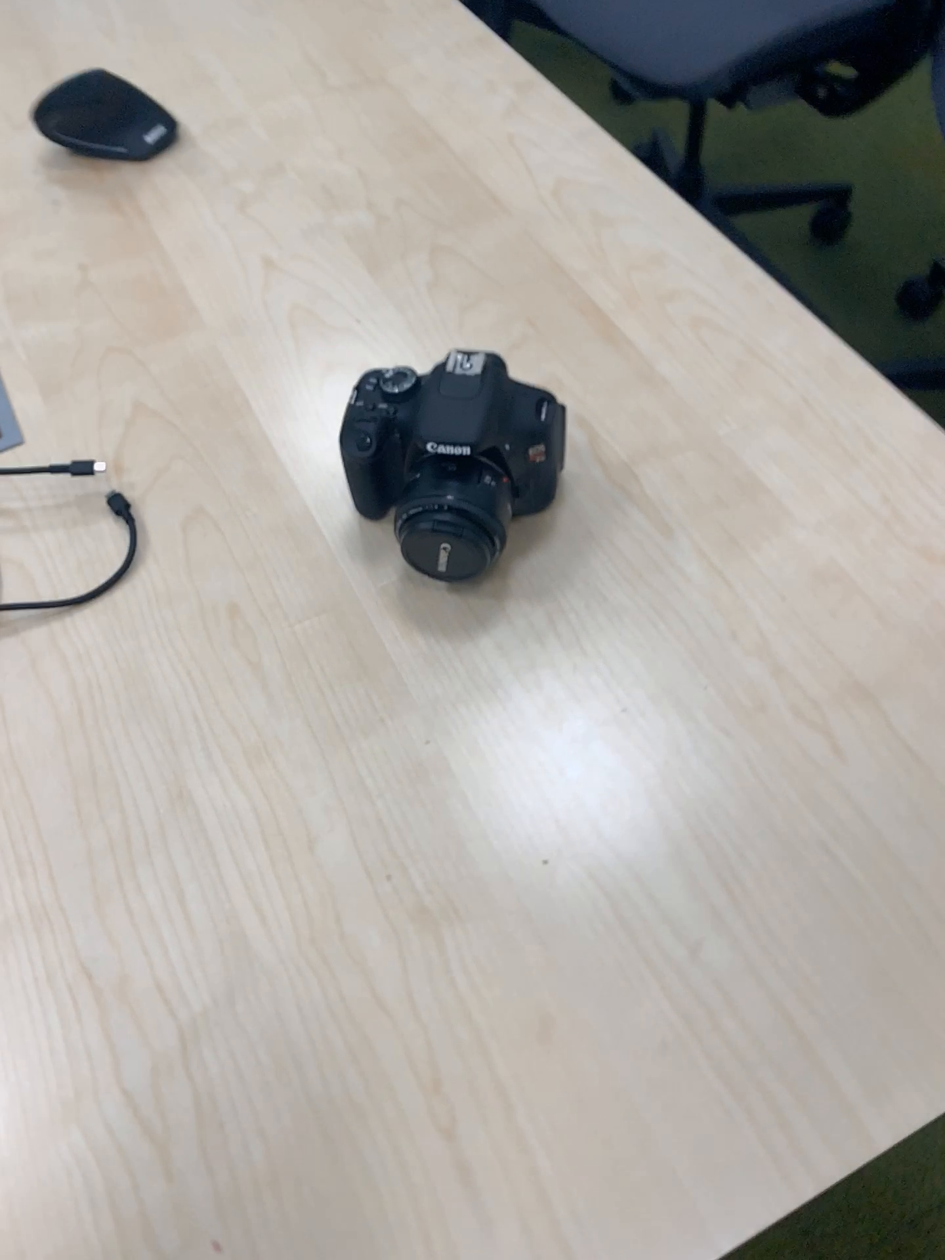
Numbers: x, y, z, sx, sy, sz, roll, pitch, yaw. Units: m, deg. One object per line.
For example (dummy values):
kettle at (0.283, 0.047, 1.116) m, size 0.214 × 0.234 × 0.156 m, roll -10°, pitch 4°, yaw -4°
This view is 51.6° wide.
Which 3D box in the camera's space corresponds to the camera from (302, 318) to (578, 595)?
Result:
camera at (-0.011, -0.101, 0.569) m, size 0.130 × 0.090 × 0.120 m, roll 6°, pitch 58°, yaw 9°
